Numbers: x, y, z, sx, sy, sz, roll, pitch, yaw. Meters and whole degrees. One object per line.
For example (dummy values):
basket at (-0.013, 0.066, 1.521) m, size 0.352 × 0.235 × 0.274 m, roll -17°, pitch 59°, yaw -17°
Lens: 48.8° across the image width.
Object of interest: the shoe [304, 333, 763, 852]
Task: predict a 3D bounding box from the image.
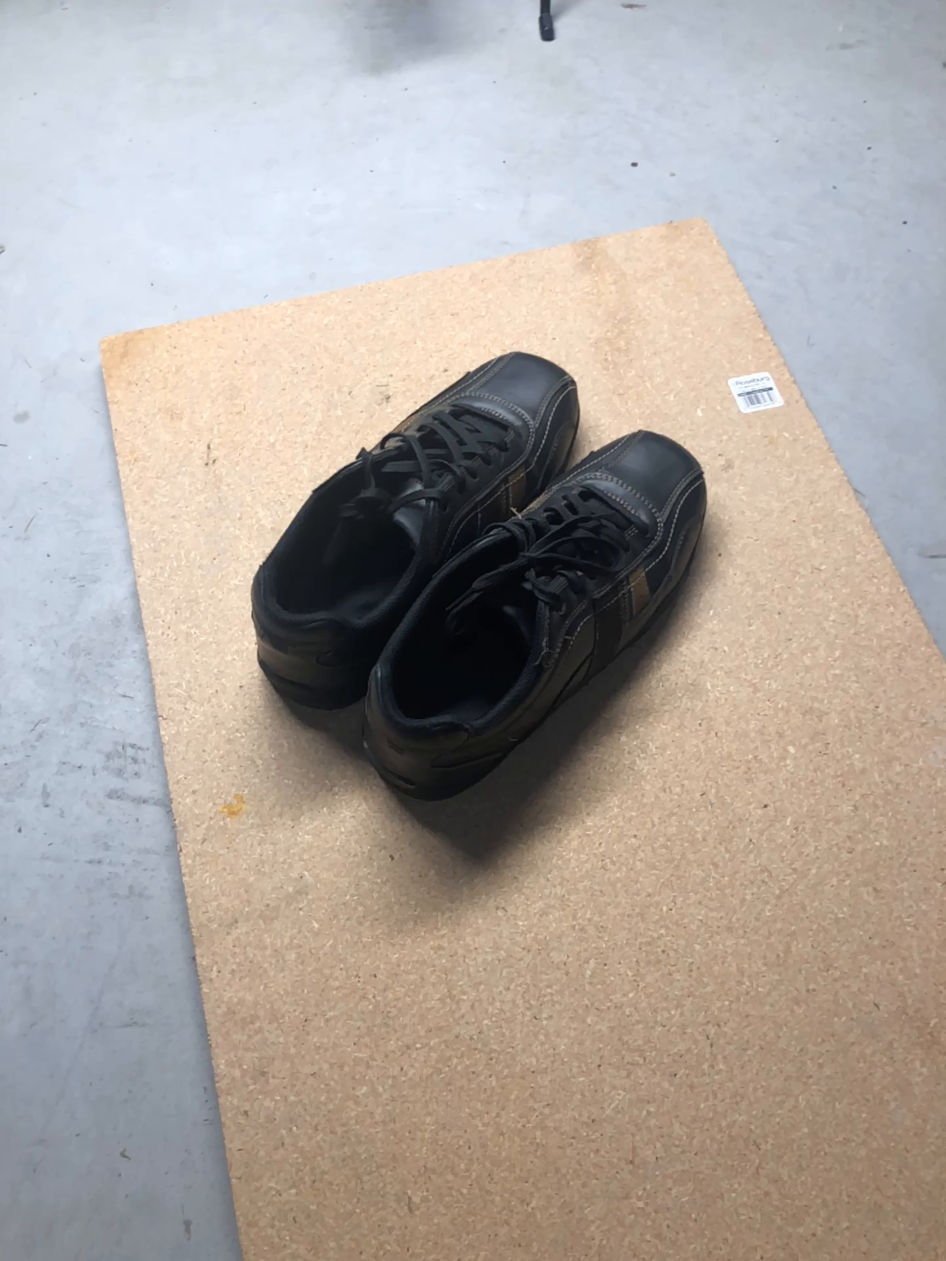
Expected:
shoe at (0.046, -0.029, 0.610) m, size 0.100 × 0.100 × 0.290 m, roll 31°, pitch 67°, yaw 23°

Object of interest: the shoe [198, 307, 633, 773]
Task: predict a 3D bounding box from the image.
shoe at (-0.028, -0.066, 0.678) m, size 0.100 × 0.100 × 0.300 m, roll 34°, pitch 64°, yaw 14°
